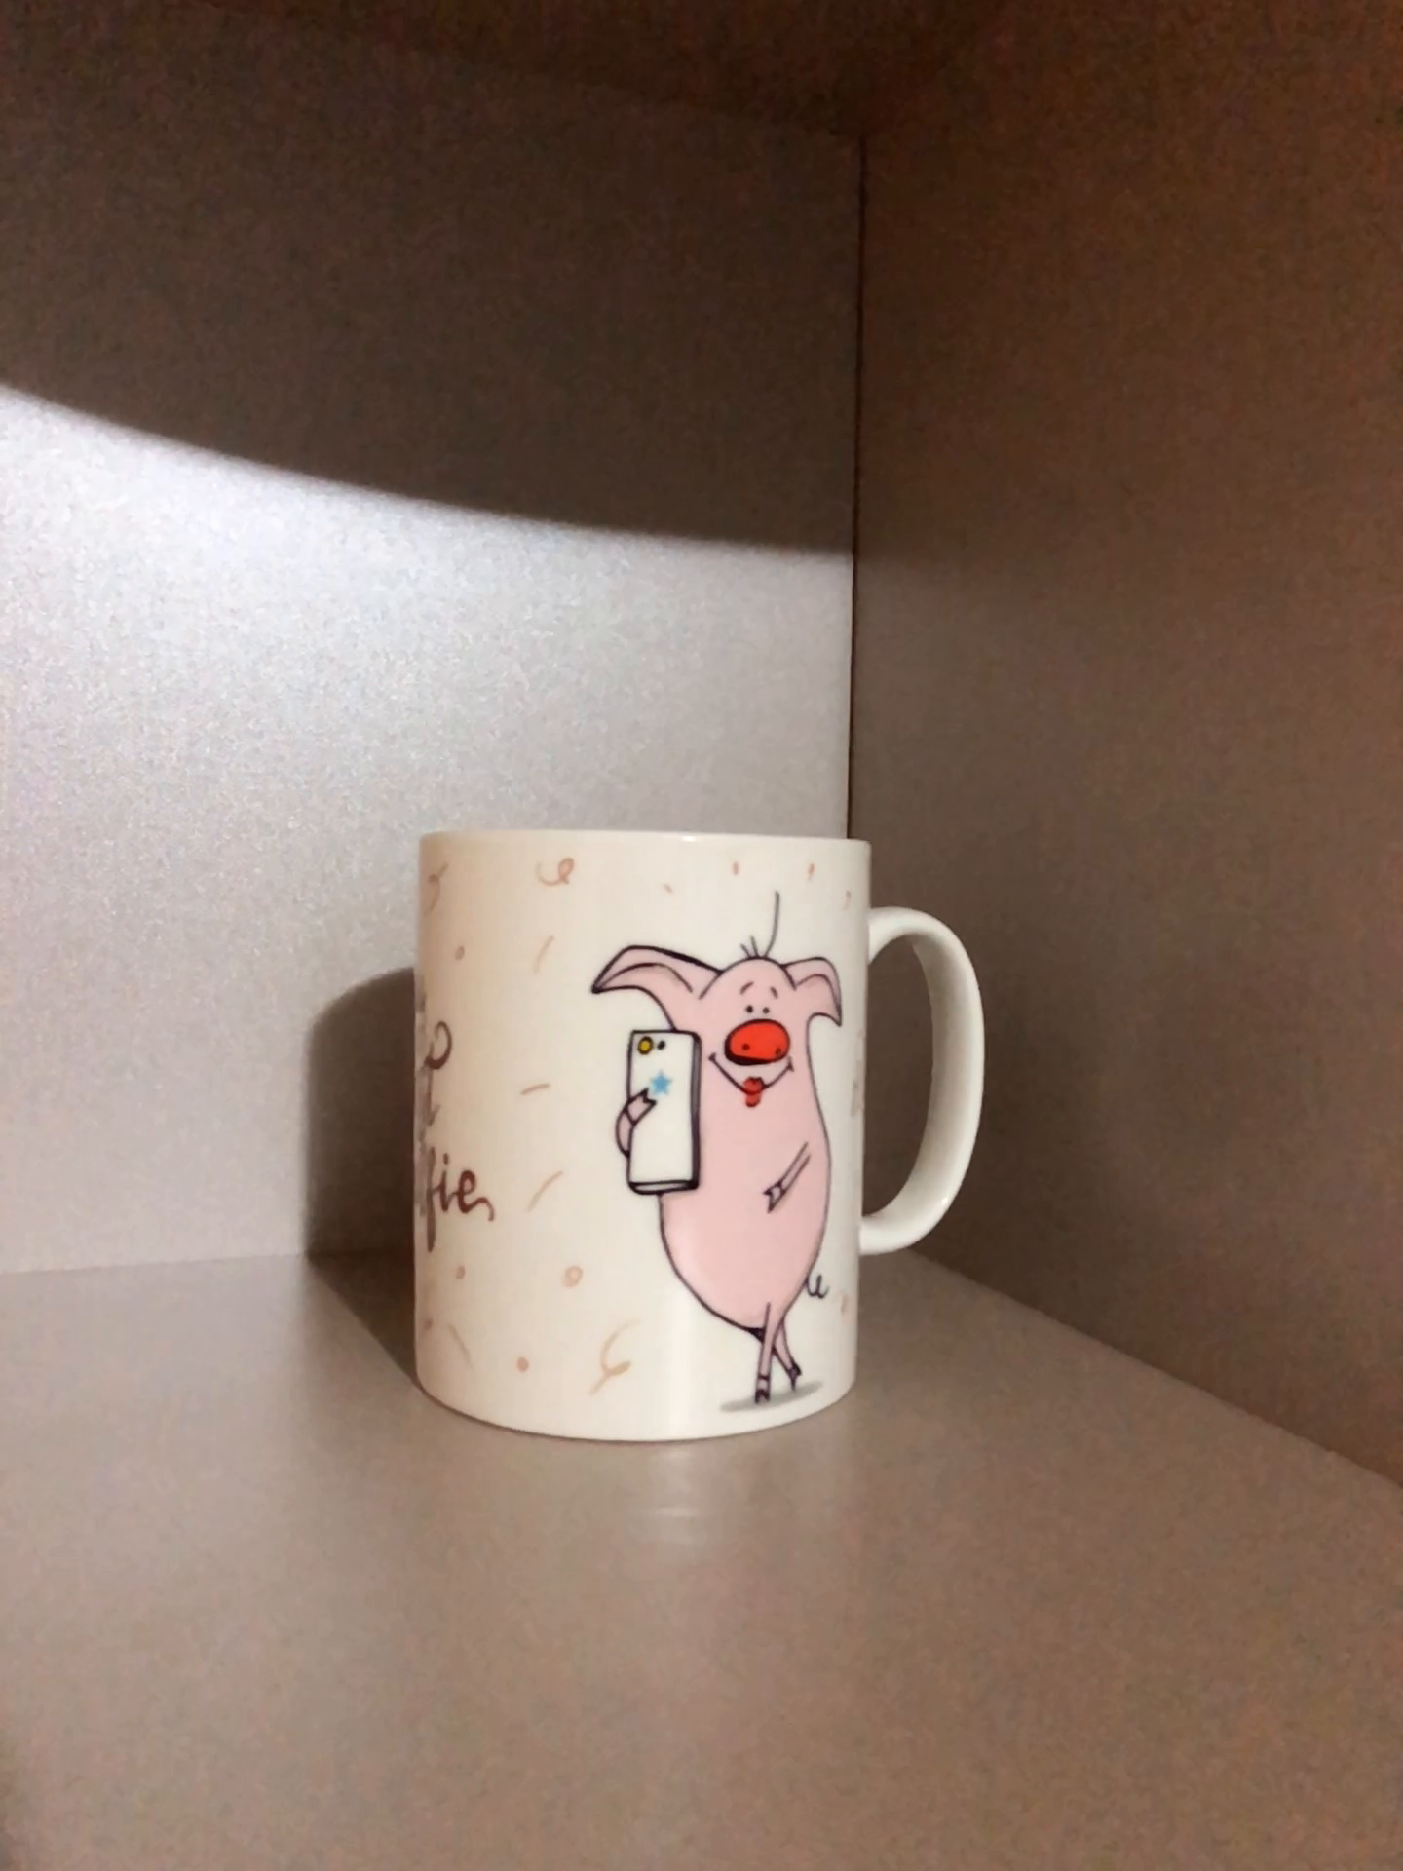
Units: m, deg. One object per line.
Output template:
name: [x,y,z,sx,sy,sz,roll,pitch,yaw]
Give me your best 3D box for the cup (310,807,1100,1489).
cup: [0.002,0.028,0.289,0.118,0.096,0.086,0,2,-41]
